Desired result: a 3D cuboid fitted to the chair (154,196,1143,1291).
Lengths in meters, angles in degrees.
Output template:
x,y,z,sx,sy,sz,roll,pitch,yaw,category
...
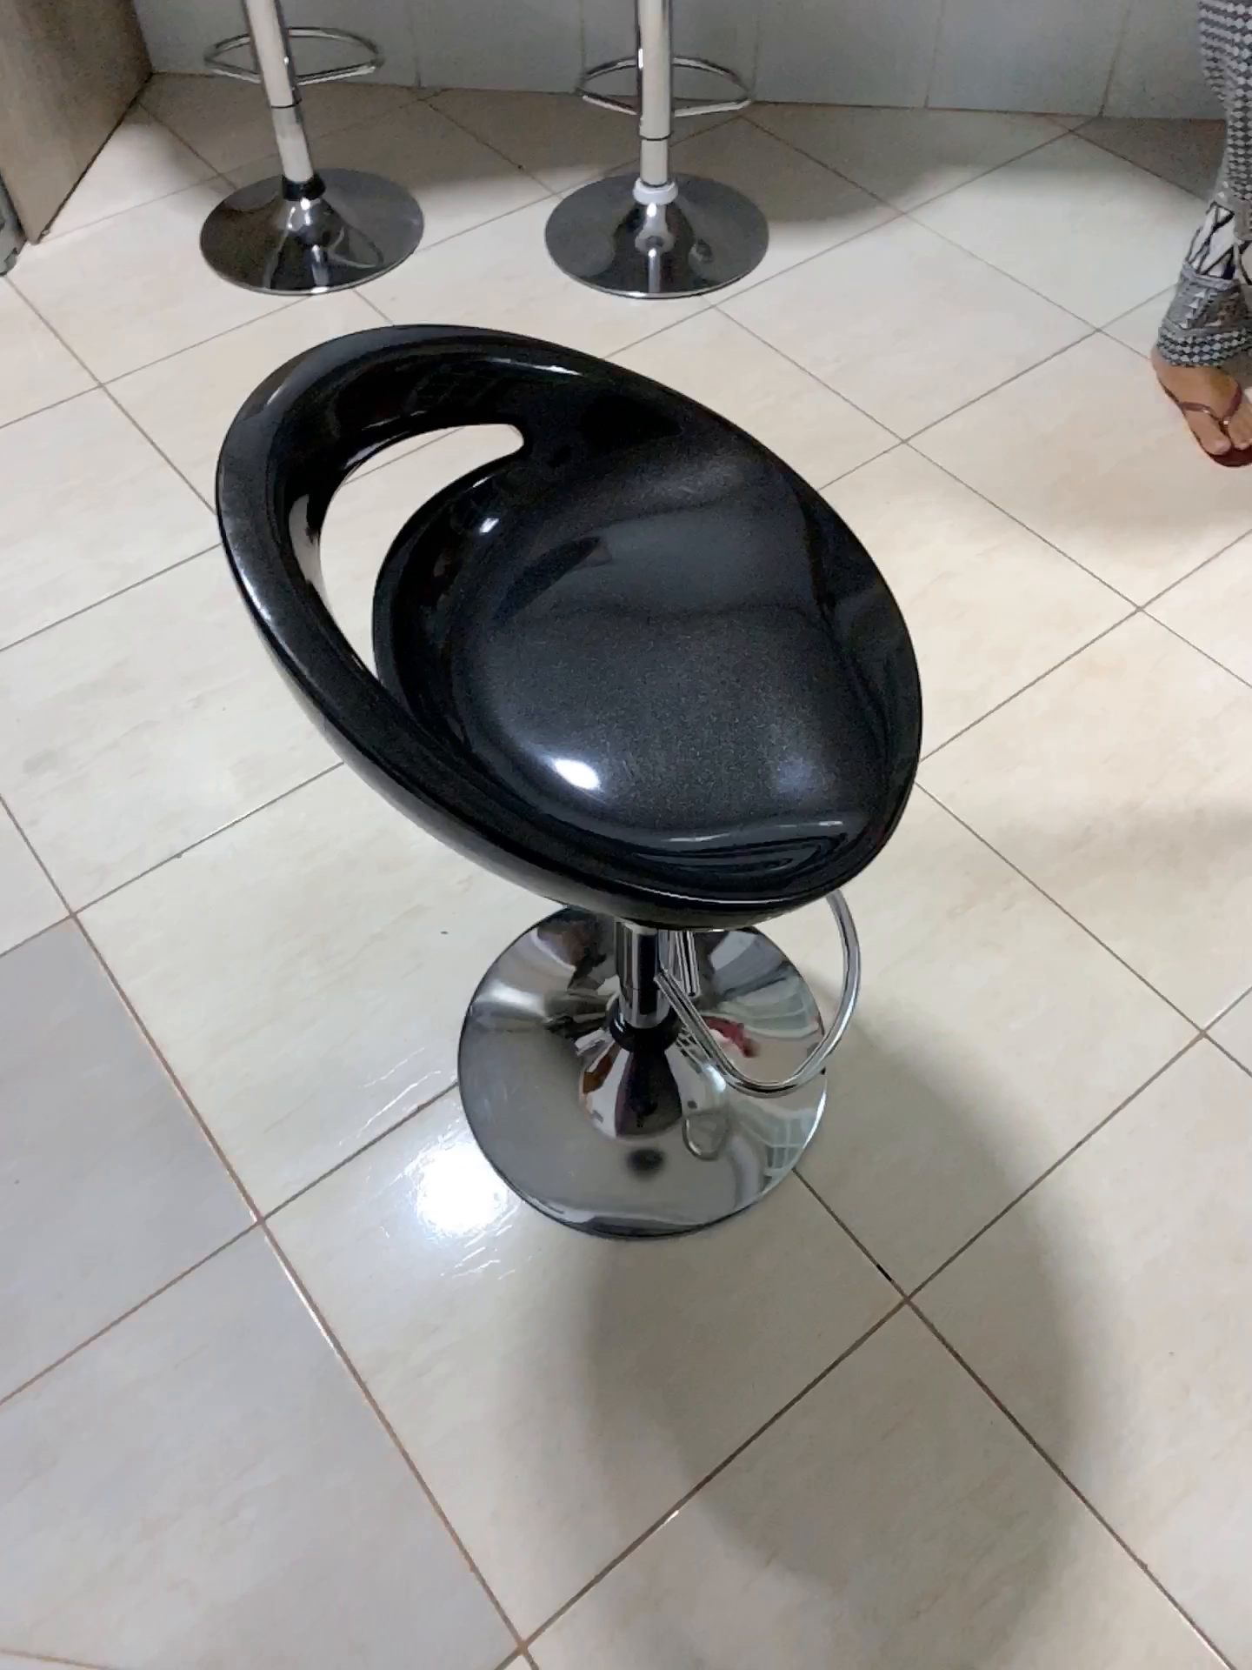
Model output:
x,y,z,sx,sy,sz,roll,pitch,yaw,category
0.005,0.011,1.036,0.443,0.814,0.454,-3,55,-1,chair
